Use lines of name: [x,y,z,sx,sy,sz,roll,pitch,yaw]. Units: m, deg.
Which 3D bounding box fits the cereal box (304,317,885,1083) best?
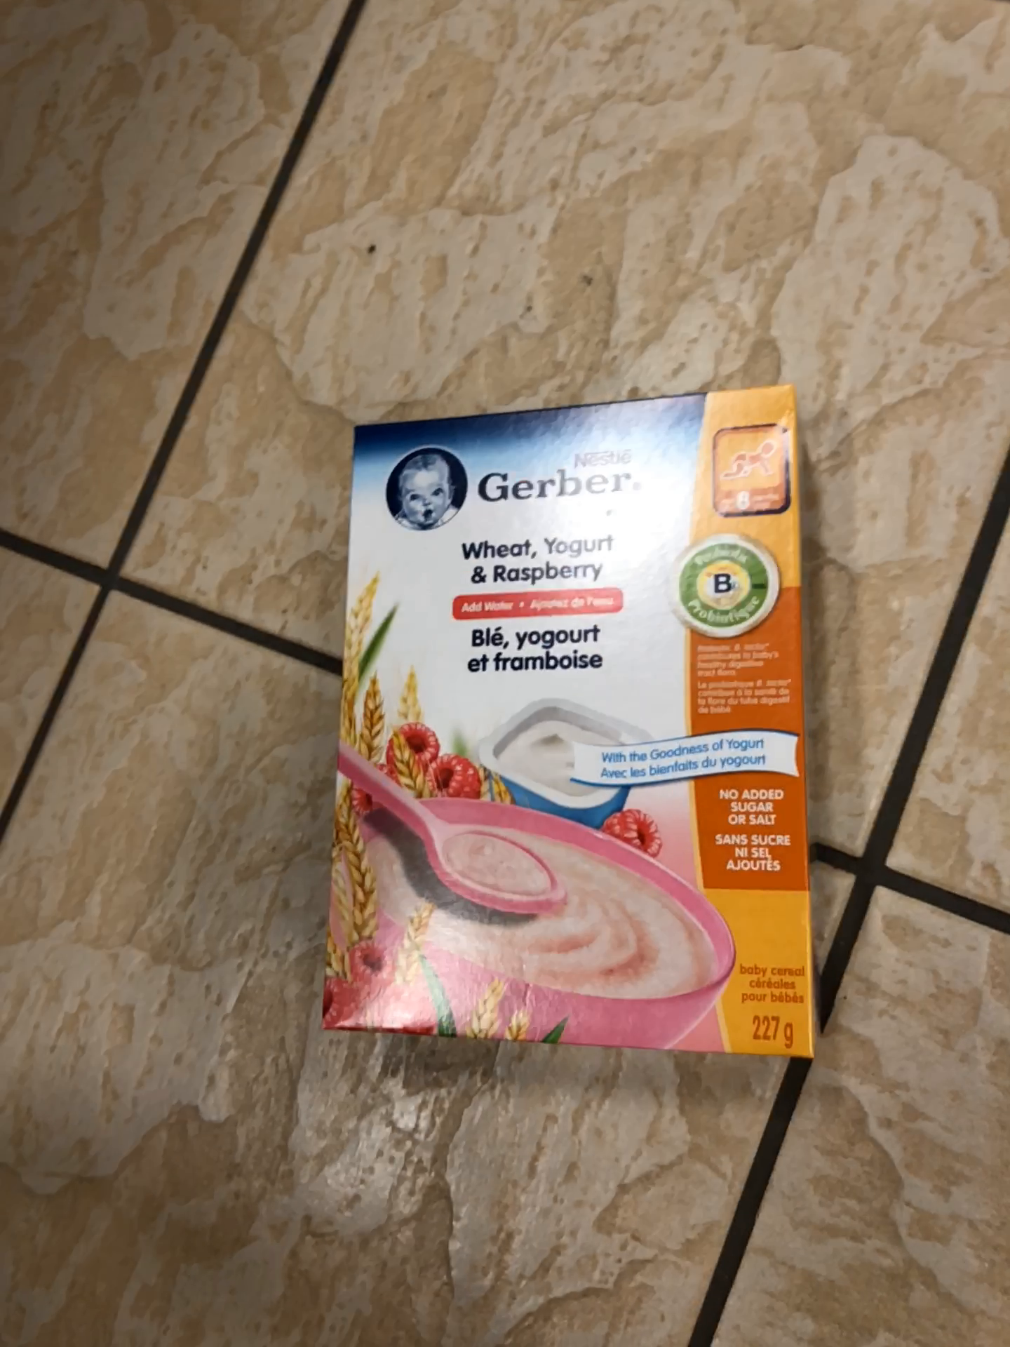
cereal box: [0.029,0.007,0.350,0.160,0.050,0.210,-2,77,17]
